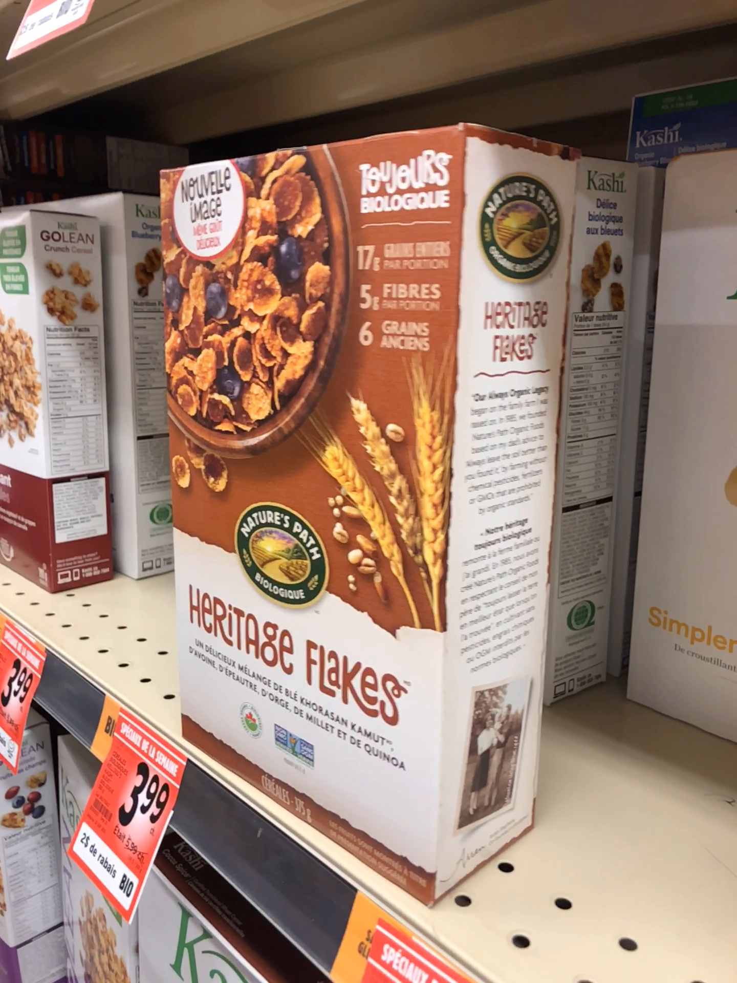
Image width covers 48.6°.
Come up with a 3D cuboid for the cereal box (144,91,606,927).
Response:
[{"bbox_3d":[-0.008,-0.001,0.328,0.070,0.259,0.170,-13,18,-42],"label":"cereal box"}]
